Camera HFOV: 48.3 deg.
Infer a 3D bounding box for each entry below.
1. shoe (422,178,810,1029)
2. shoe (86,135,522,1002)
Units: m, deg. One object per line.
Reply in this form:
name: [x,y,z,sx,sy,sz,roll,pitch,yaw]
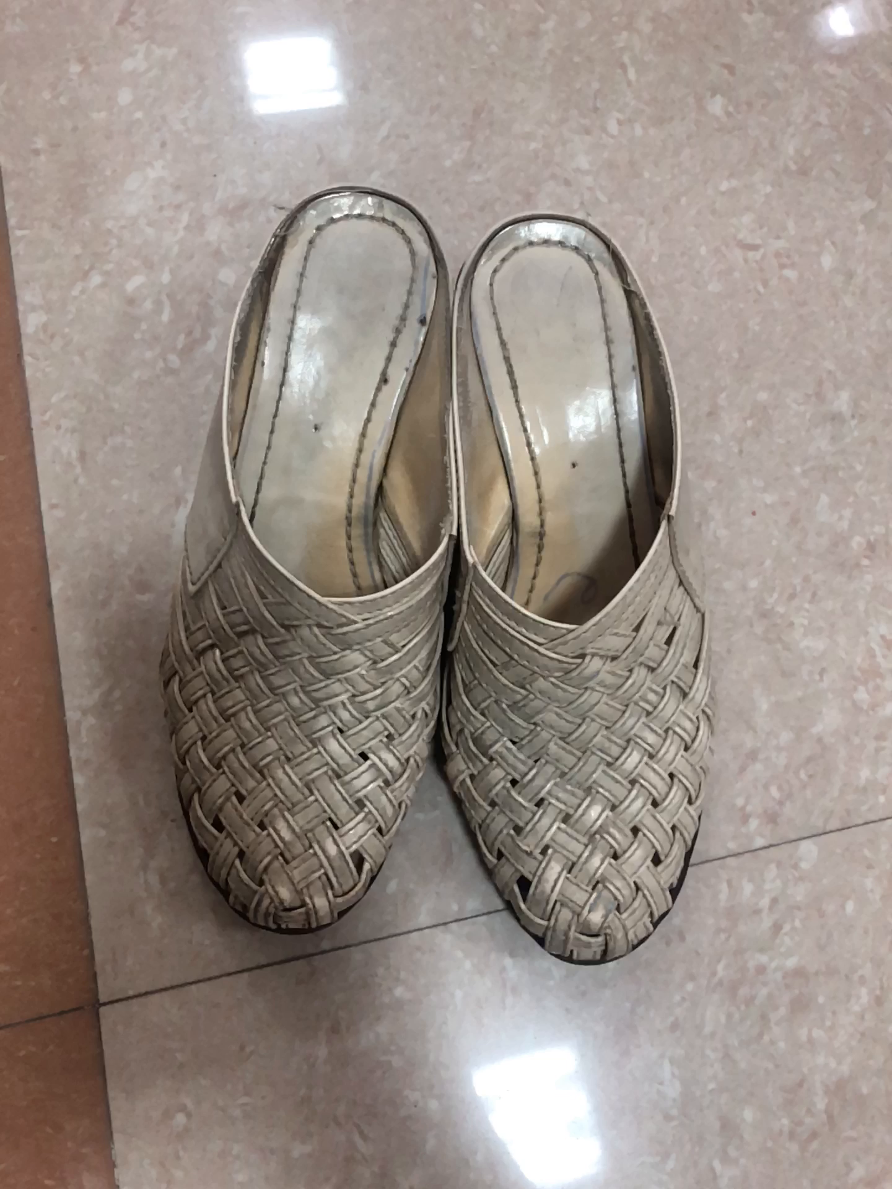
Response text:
shoe: [0.044,0.000,0.318,0.090,0.080,0.240,-3,78,1]
shoe: [-0.034,-0.010,0.315,0.090,0.080,0.240,6,77,1]
